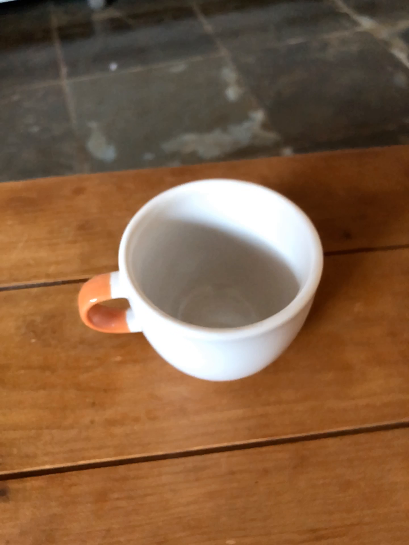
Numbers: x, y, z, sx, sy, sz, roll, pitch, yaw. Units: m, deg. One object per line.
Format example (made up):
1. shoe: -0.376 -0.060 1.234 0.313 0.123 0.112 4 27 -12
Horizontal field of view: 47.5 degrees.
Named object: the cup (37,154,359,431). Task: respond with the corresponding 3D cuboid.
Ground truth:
1. cup: -0.007 0.007 0.207 0.110 0.060 0.091 -8 53 -4
